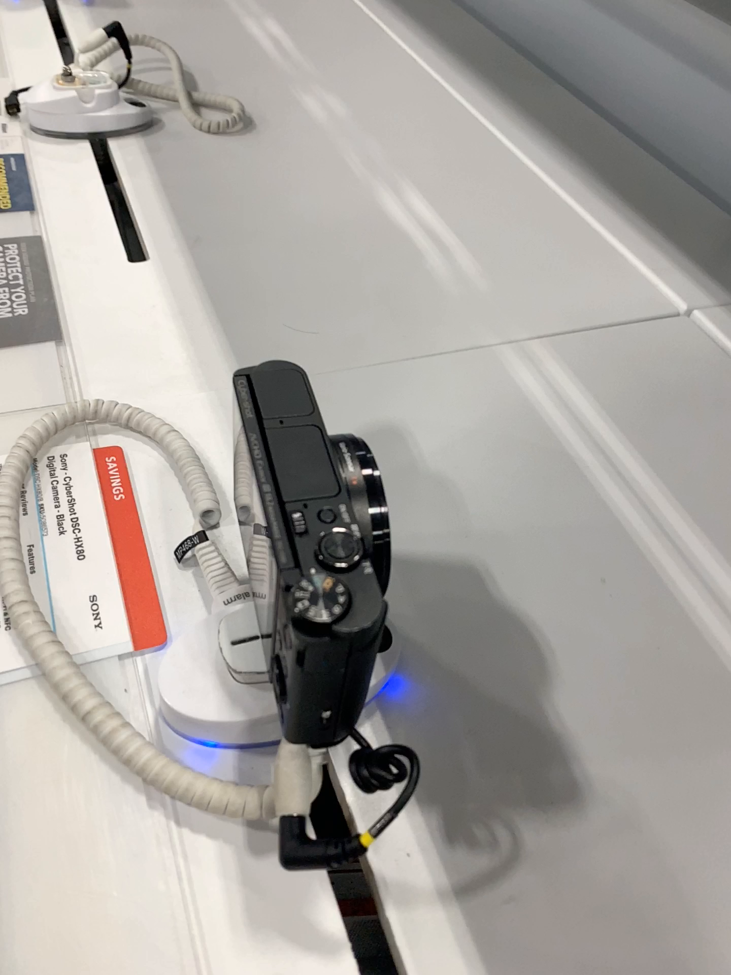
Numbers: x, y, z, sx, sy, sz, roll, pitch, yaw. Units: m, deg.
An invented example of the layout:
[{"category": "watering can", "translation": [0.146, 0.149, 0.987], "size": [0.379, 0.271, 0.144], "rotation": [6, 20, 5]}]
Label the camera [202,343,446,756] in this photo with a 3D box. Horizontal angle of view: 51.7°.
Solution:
[{"category": "camera", "translation": [-0.019, 0.013, 0.219], "size": [0.040, 0.052, 0.104], "rotation": [-8, 51, -16]}]
